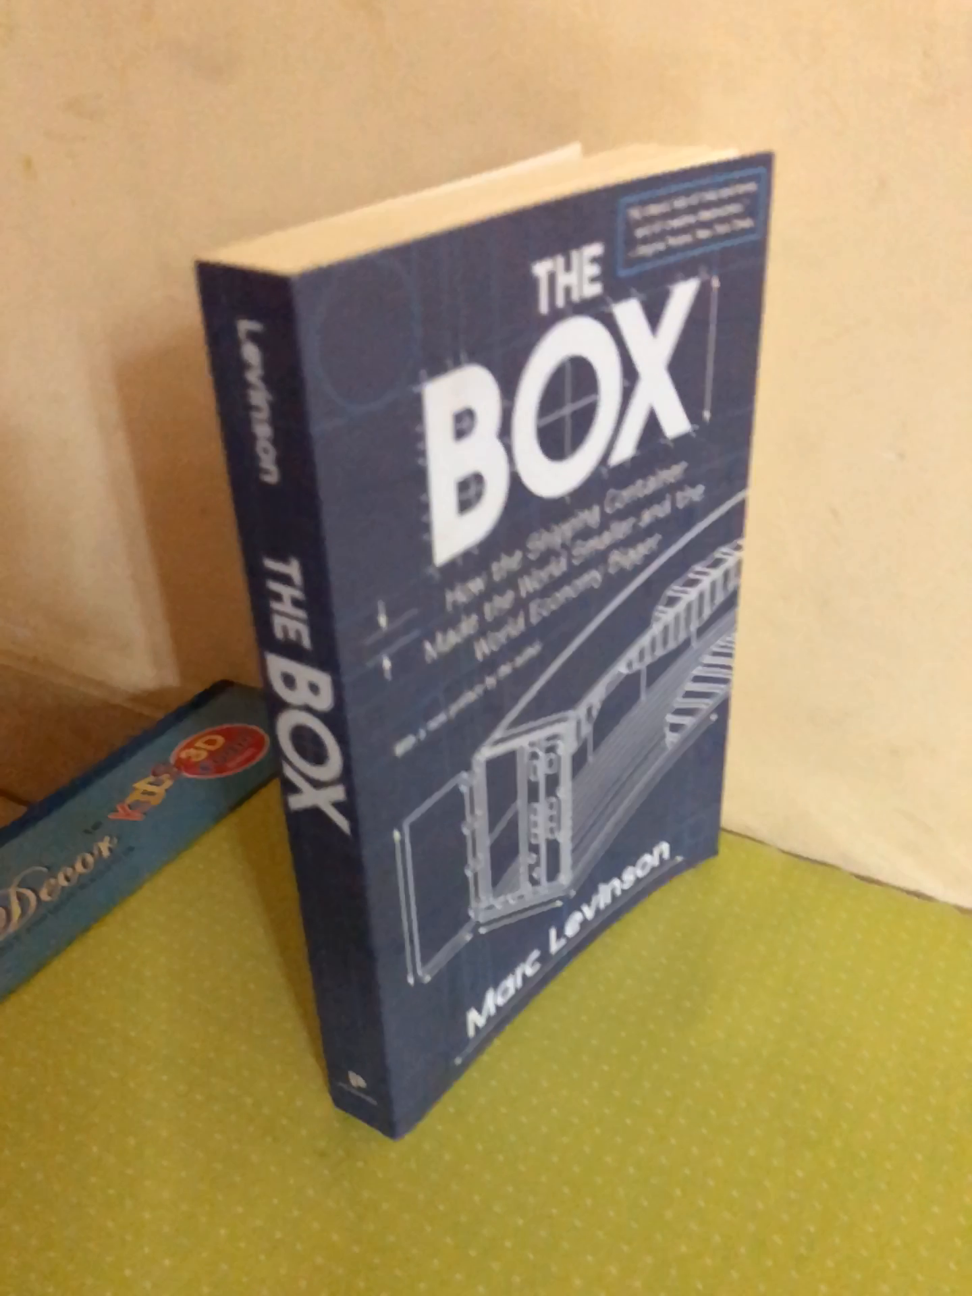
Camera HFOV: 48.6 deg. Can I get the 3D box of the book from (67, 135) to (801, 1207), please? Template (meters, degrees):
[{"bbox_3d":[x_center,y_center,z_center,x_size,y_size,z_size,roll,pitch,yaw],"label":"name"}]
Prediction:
[{"bbox_3d":[0.008,-0.004,0.281,0.050,0.219,0.181,20,37,33],"label":"book"}]
